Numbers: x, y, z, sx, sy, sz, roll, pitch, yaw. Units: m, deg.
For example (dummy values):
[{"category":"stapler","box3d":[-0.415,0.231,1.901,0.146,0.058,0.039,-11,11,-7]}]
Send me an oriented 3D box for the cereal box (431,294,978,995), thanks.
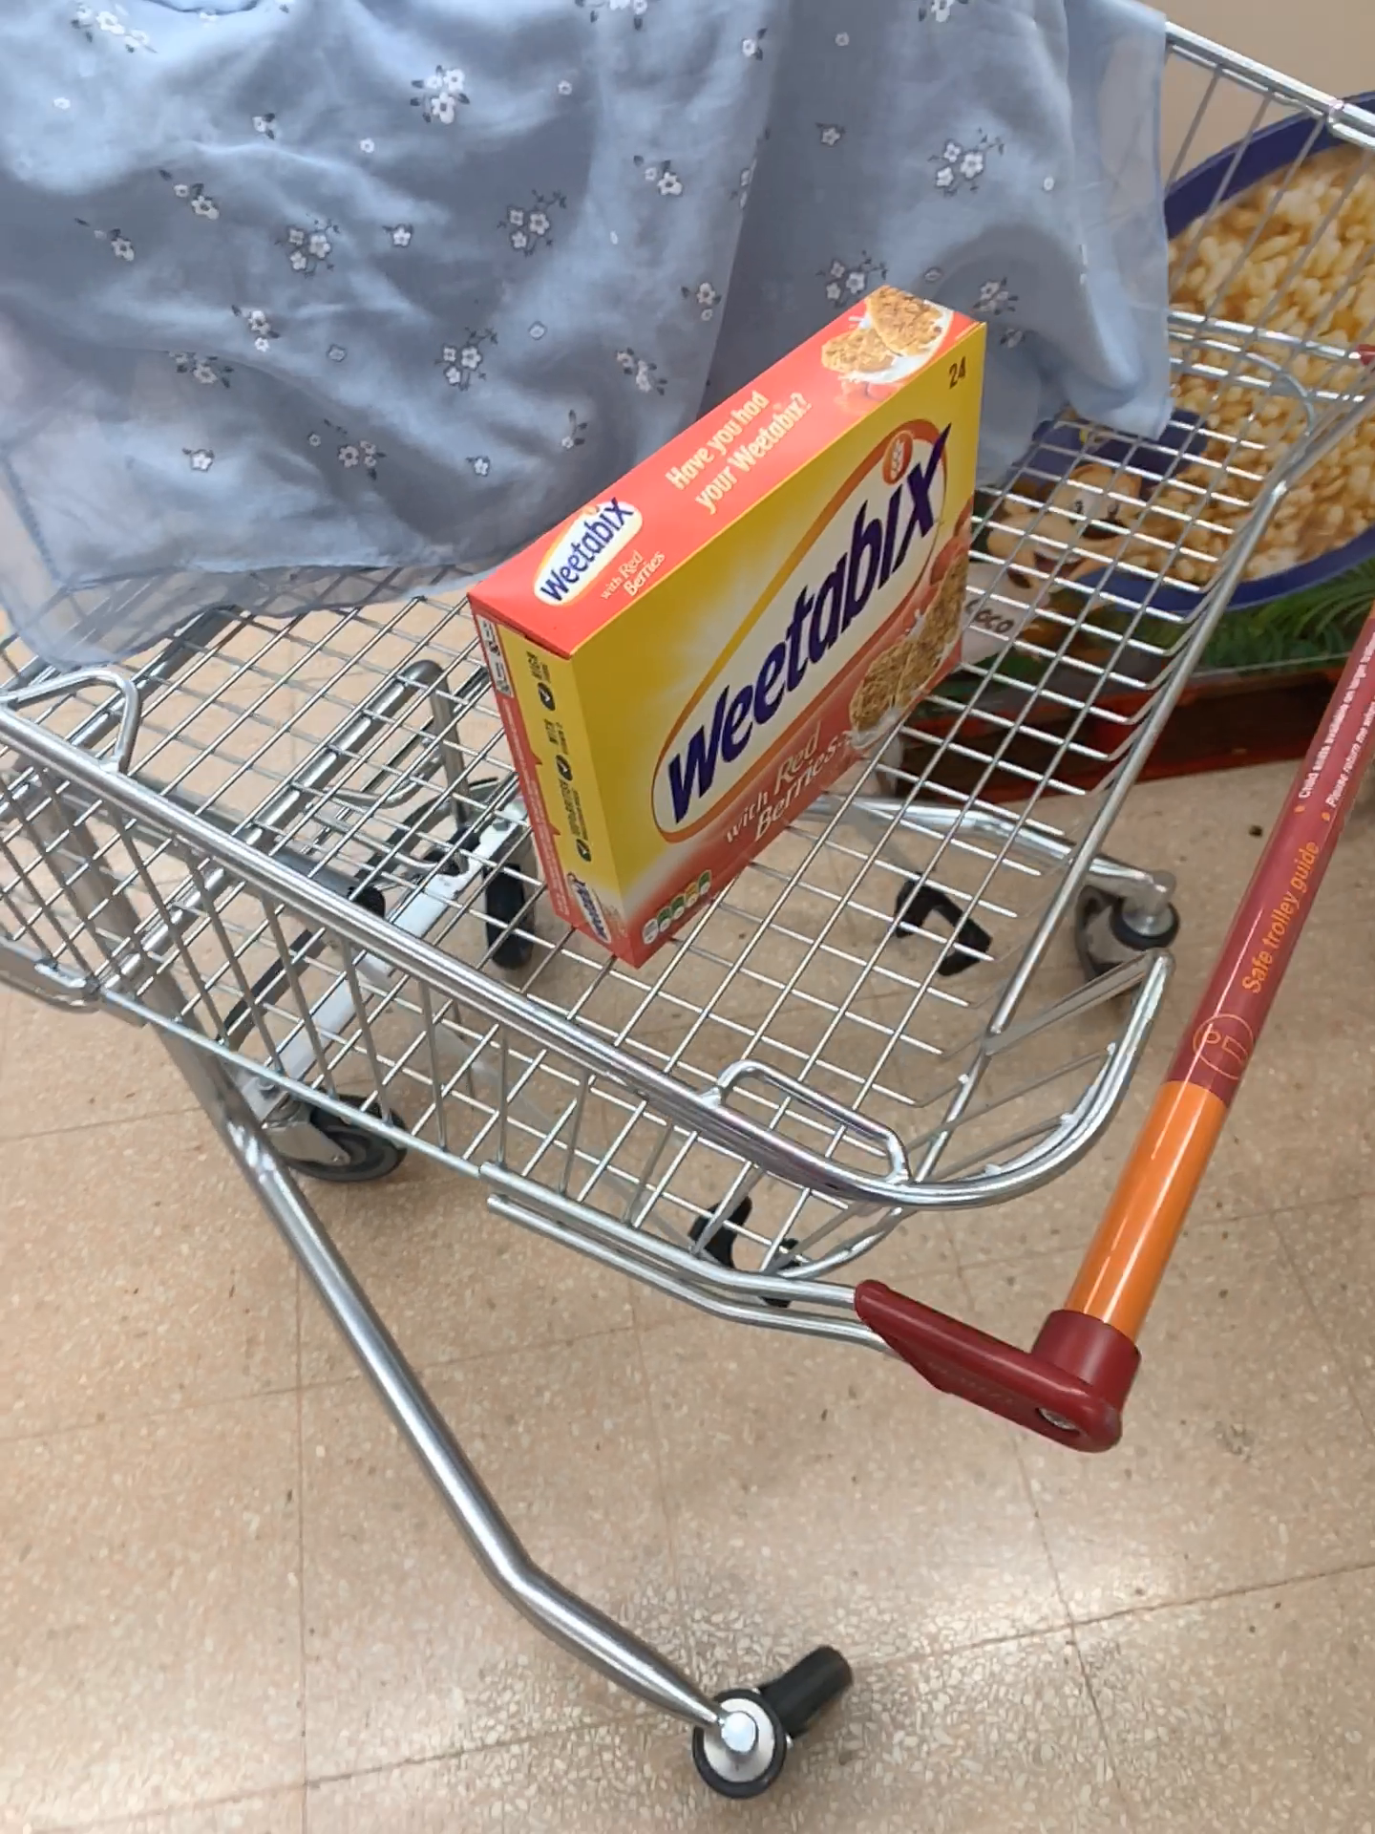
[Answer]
[{"category":"cereal box","box3d":[0.022,-0.120,0.621,0.060,0.188,0.261,31,60,27]}]
